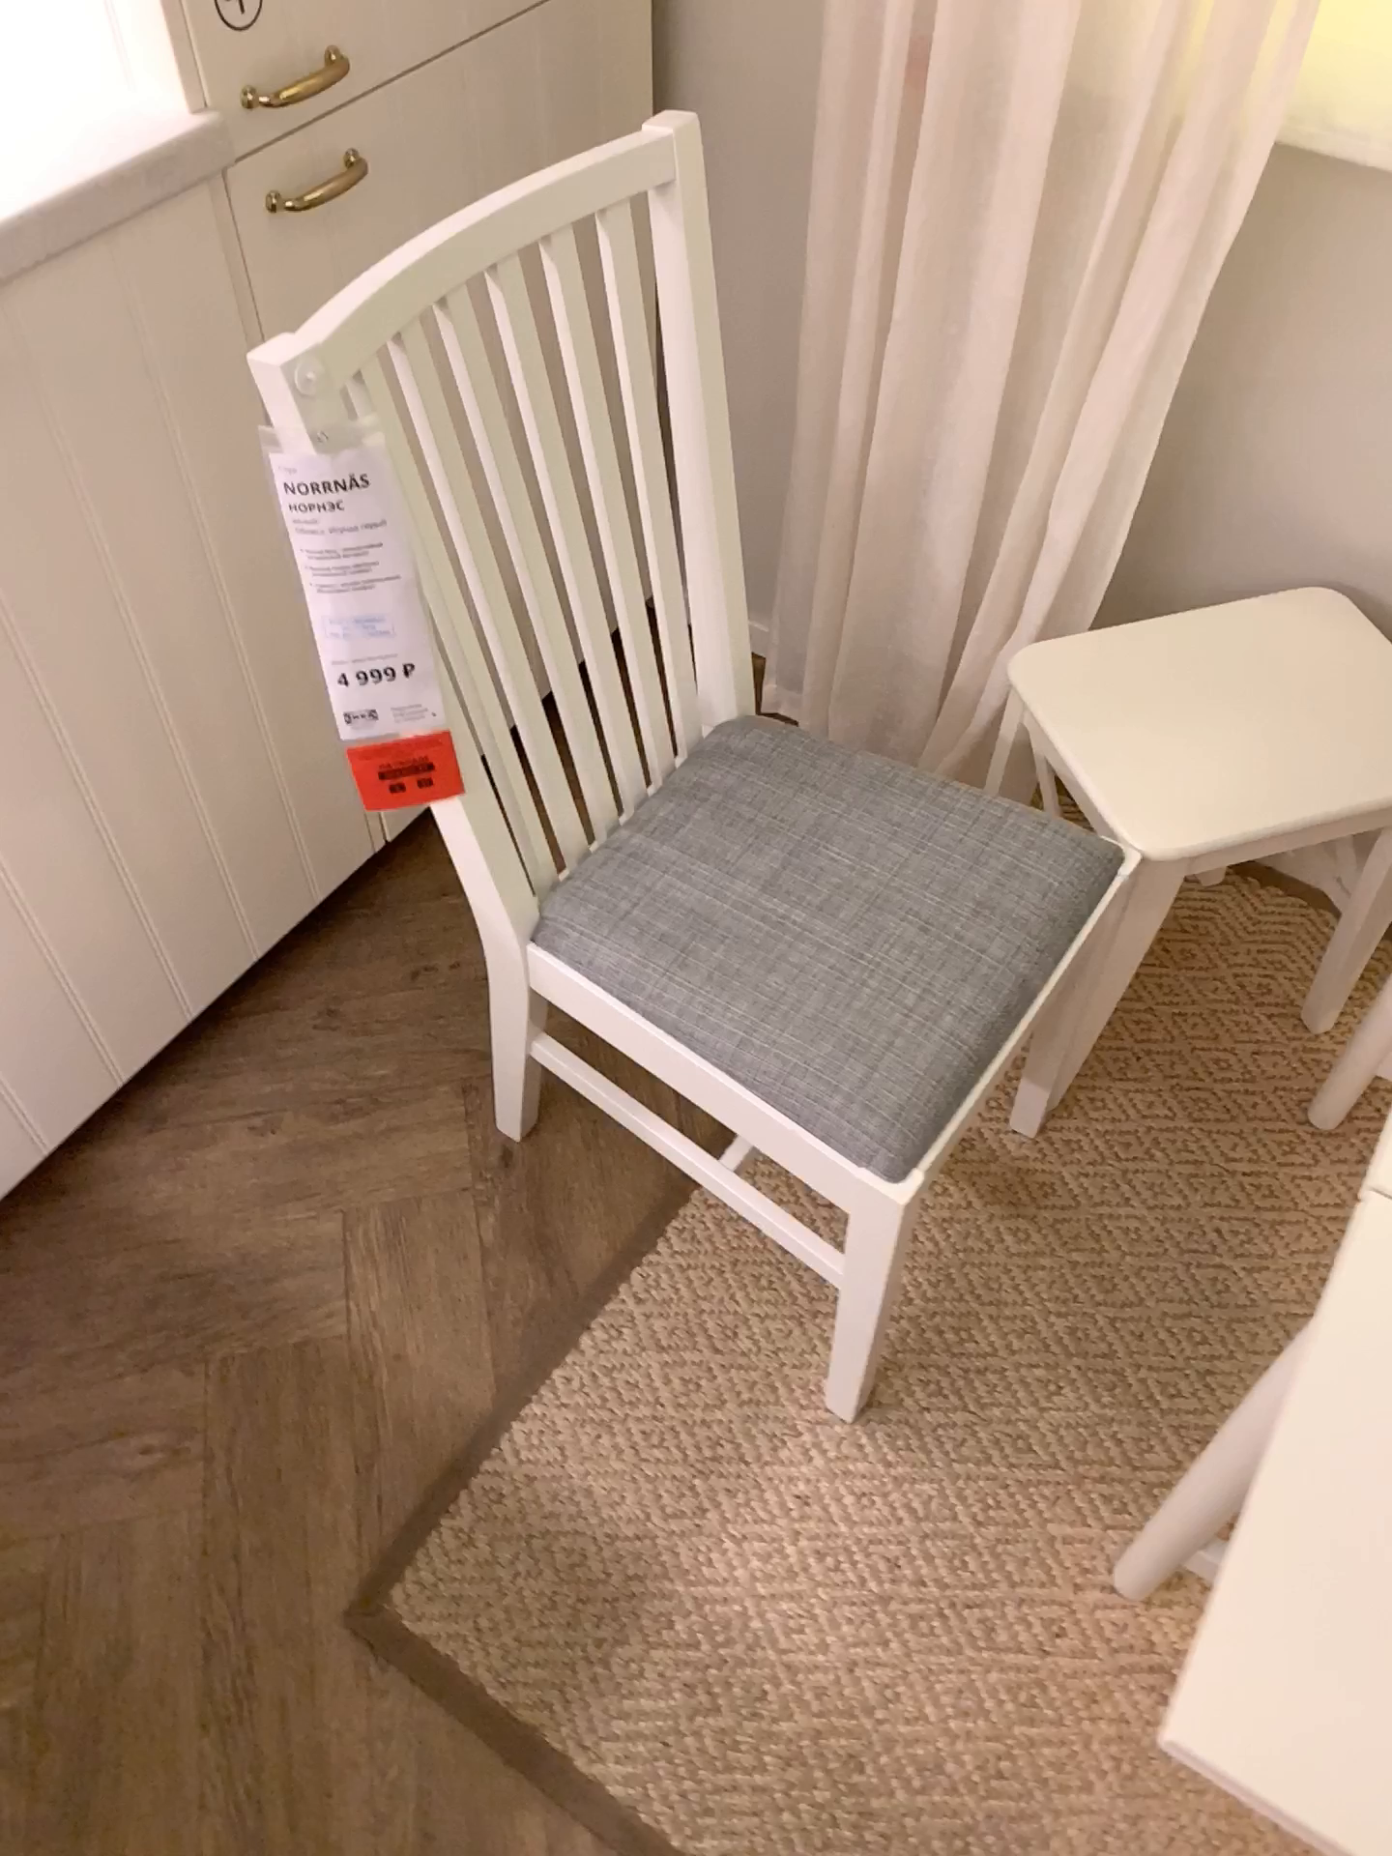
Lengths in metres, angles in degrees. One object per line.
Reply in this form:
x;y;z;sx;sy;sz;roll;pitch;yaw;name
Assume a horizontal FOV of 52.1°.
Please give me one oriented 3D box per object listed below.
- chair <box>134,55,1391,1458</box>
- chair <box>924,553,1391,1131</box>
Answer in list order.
0.068;-0.098;1.247;0.621;0.916;0.552;29;56;20;chair
0.570;-0.098;1.582;0.460;0.388;0.402;-13;53;-11;chair
